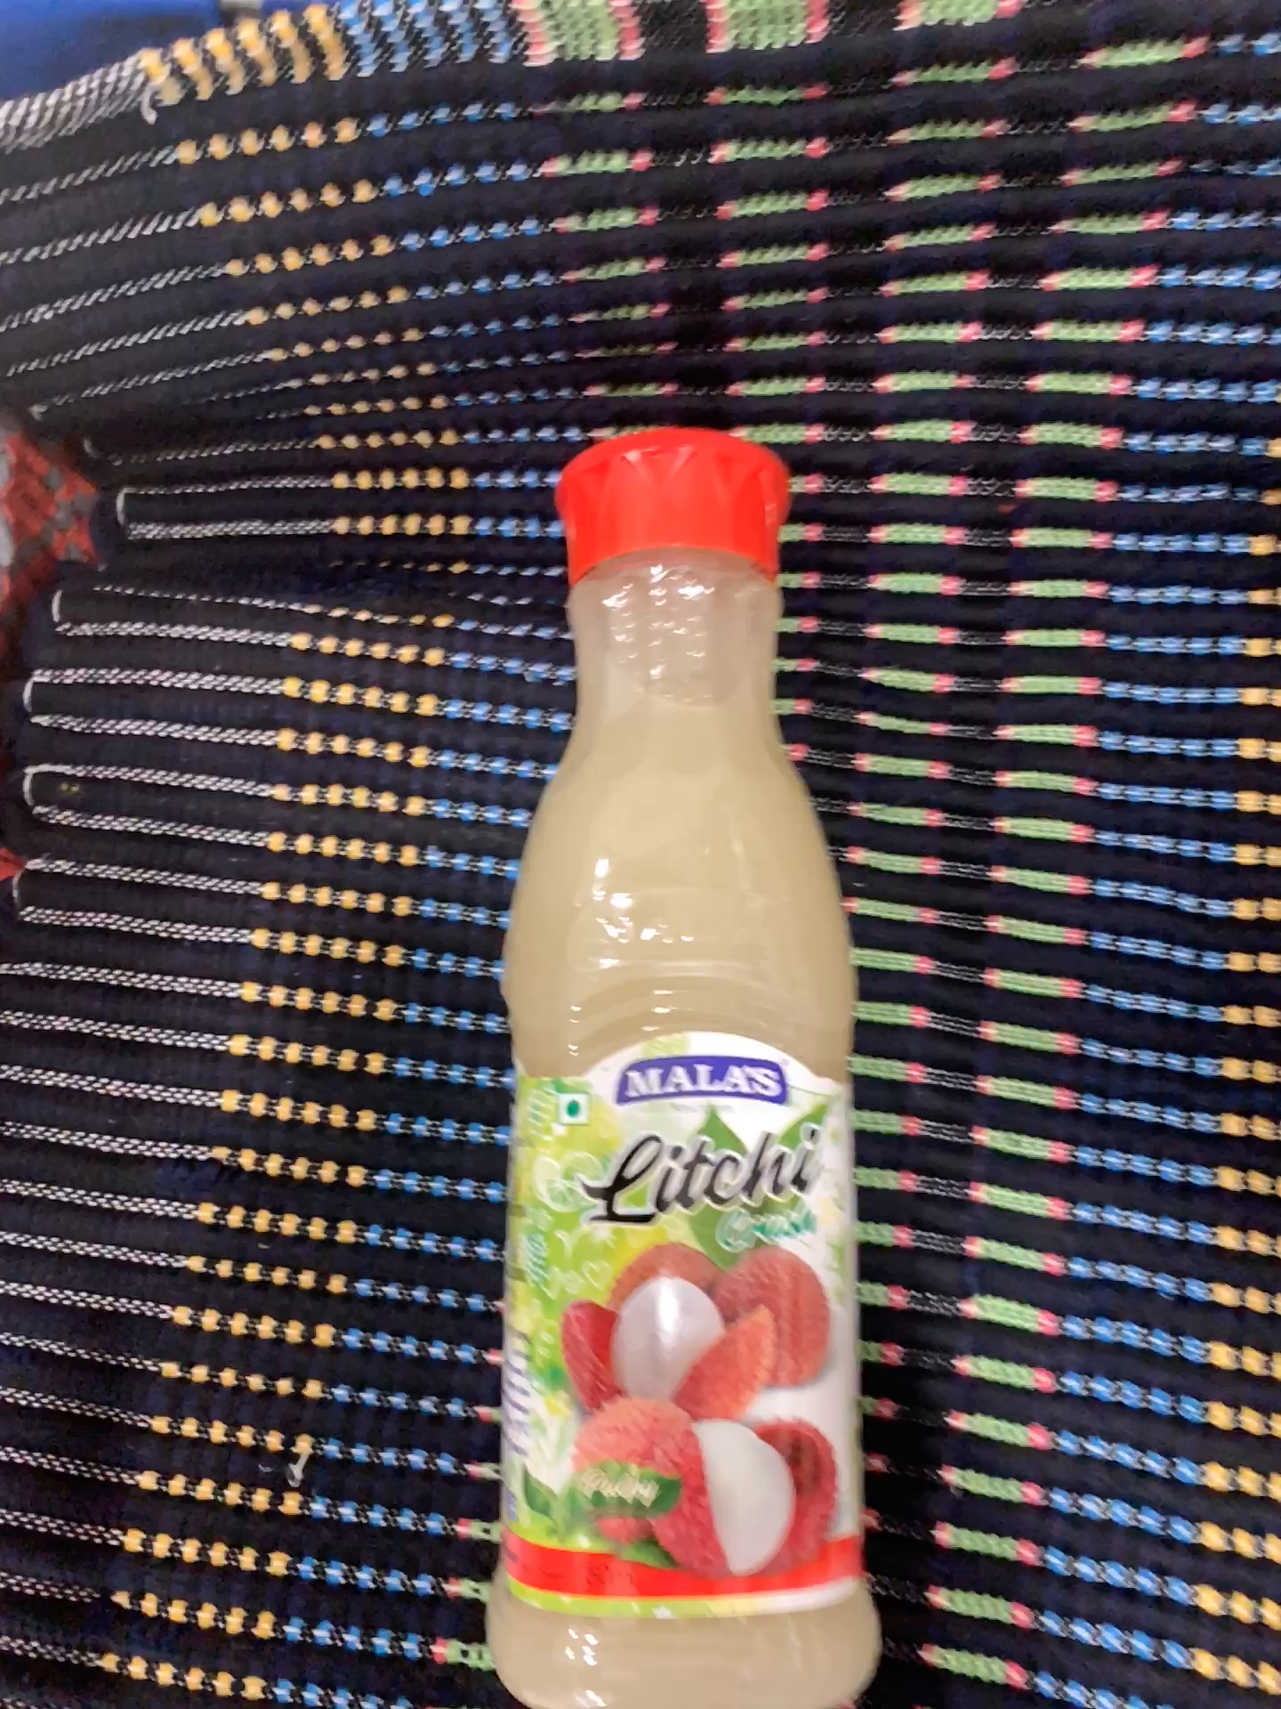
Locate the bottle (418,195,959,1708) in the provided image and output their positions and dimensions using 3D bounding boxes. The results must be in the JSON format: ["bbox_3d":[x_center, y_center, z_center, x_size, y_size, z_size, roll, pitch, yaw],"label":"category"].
[{"bbox_3d":[0.006,0.015,0.260,0.080,0.080,0.260,1,79,-2],"label":"bottle"}]
